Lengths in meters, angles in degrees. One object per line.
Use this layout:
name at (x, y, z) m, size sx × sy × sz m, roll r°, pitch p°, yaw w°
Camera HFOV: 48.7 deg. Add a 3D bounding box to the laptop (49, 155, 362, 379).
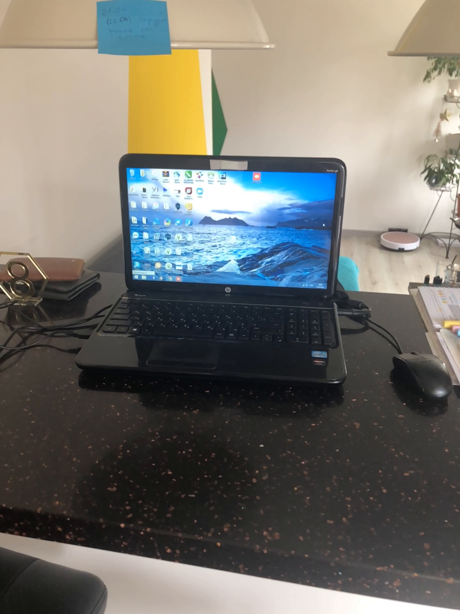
laptop at (-0.016, -0.078, 0.743) m, size 0.360 × 0.217 × 0.269 m, roll 3°, pitch 27°, yaw 6°
